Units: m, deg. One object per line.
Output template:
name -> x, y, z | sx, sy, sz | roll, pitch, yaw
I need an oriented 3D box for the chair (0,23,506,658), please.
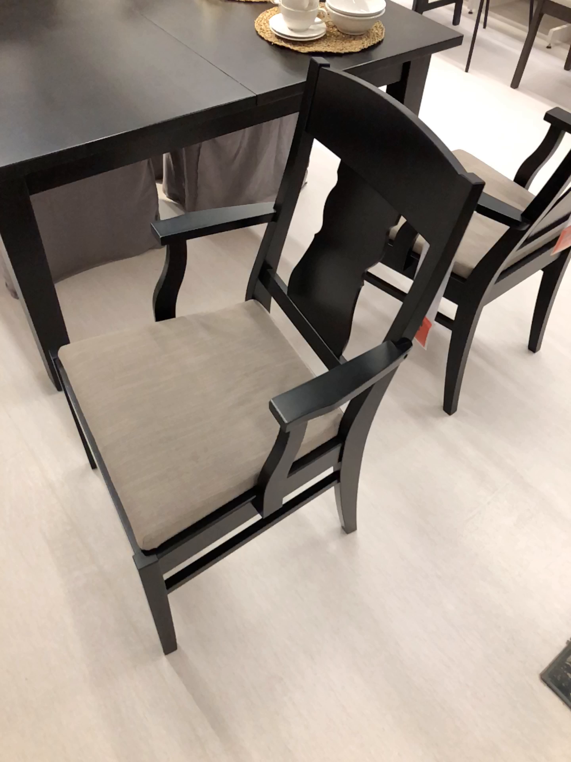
chair -> -0.125, -0.021, 1.234 | 0.571, 0.994, 0.573 | -22, 53, -20
